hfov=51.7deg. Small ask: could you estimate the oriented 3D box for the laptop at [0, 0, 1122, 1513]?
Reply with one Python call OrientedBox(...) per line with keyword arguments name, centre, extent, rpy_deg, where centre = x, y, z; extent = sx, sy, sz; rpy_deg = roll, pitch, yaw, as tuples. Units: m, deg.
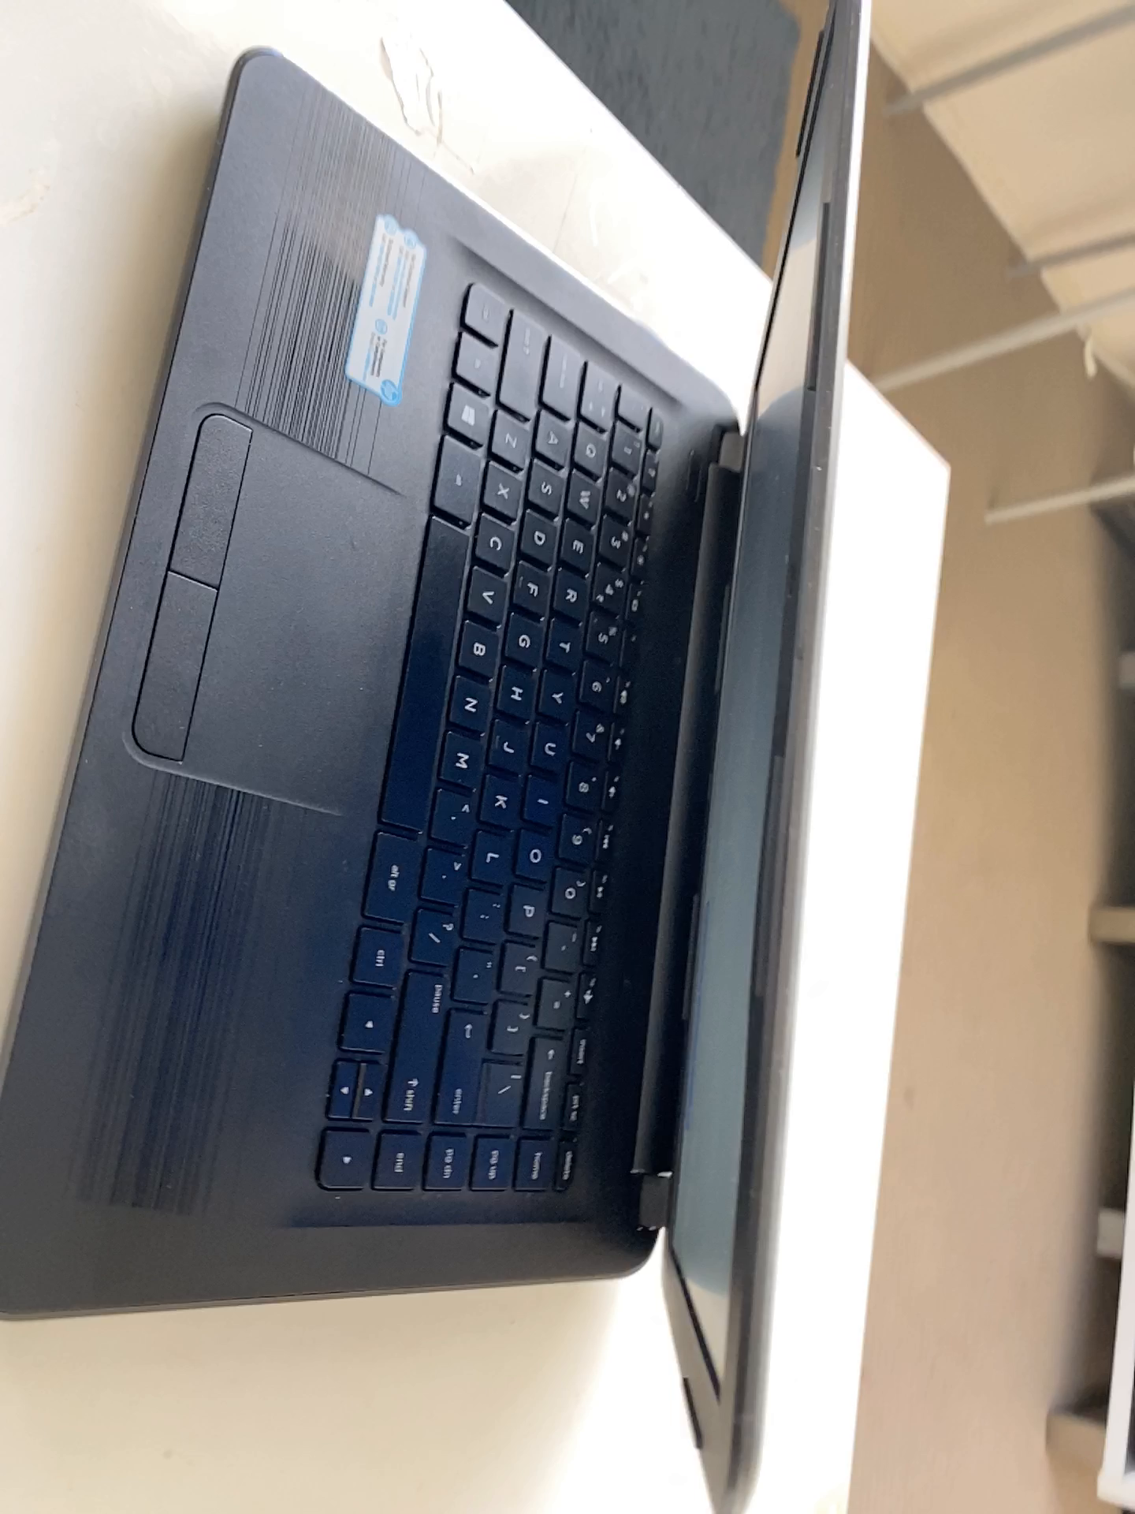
OrientedBox(name="laptop", centre=(0.024, -0.020, 0.310), extent=(0.227, 0.154, 0.336), rpy_deg=(20, 71, -43))
